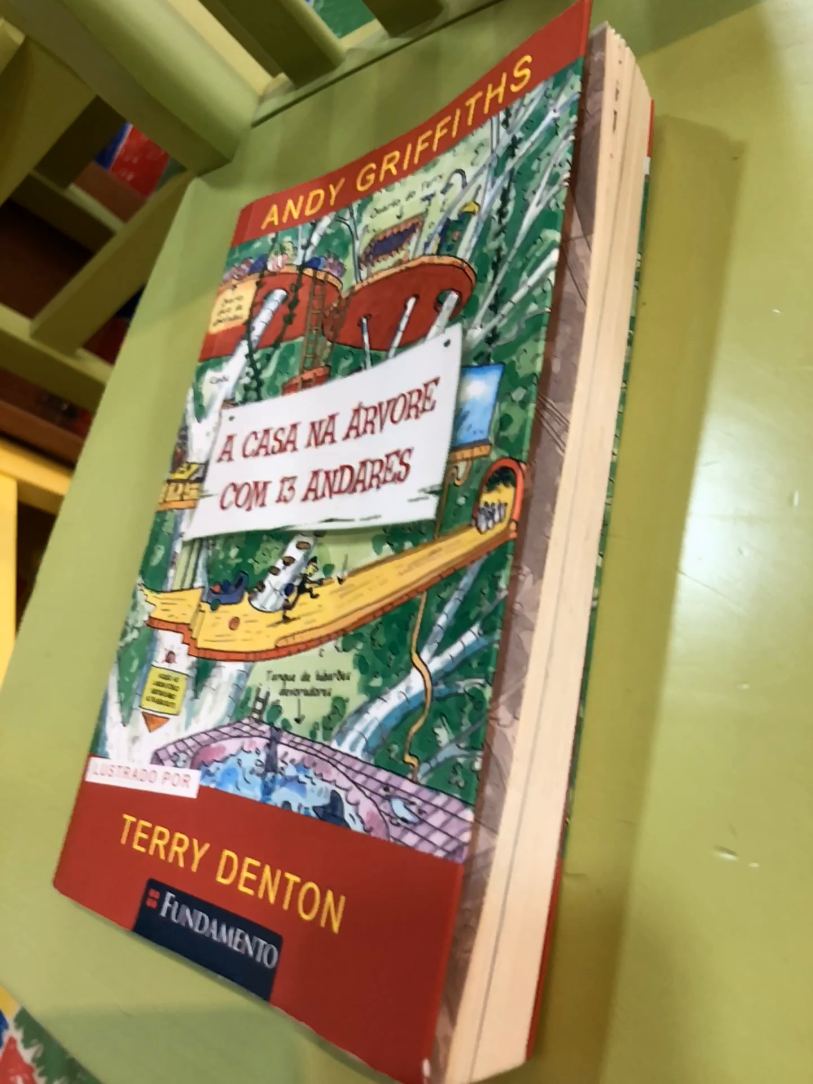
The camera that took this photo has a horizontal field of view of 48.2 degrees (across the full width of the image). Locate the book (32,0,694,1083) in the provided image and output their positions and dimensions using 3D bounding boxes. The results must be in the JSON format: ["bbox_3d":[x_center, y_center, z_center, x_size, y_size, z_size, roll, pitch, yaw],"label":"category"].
[{"bbox_3d":[-0.015,-0.007,0.224,0.137,0.040,0.210,-3,70,46],"label":"book"}]
